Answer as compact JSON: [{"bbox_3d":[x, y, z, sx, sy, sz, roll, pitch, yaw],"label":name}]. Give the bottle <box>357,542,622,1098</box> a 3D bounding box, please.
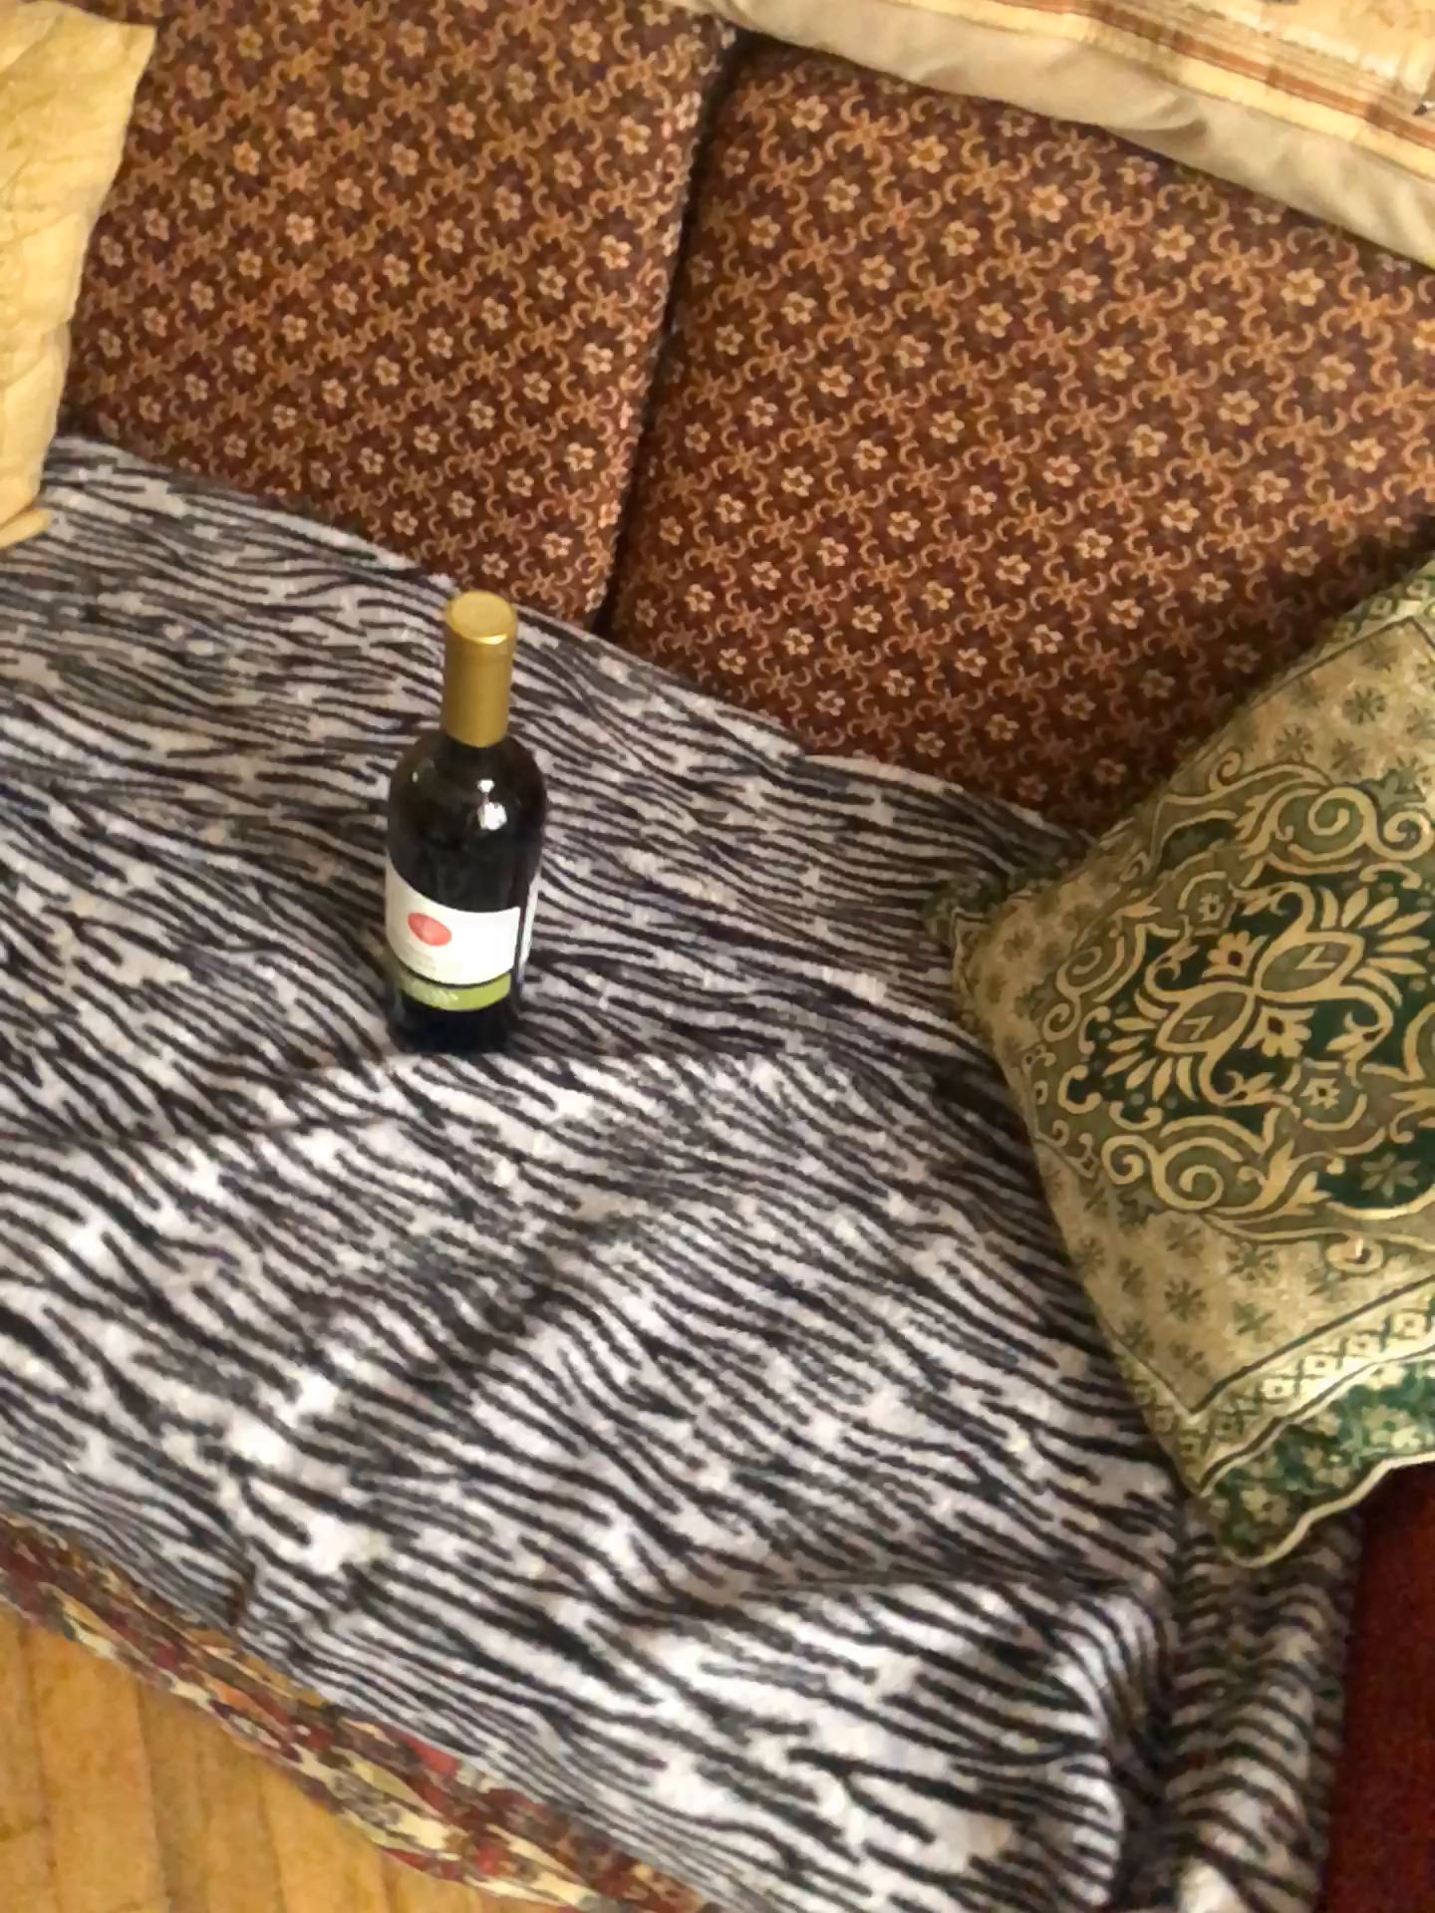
[{"bbox_3d":[-0.114,-0.050,0.739,0.080,0.268,0.080,6,52,-8],"label":"bottle"}]
